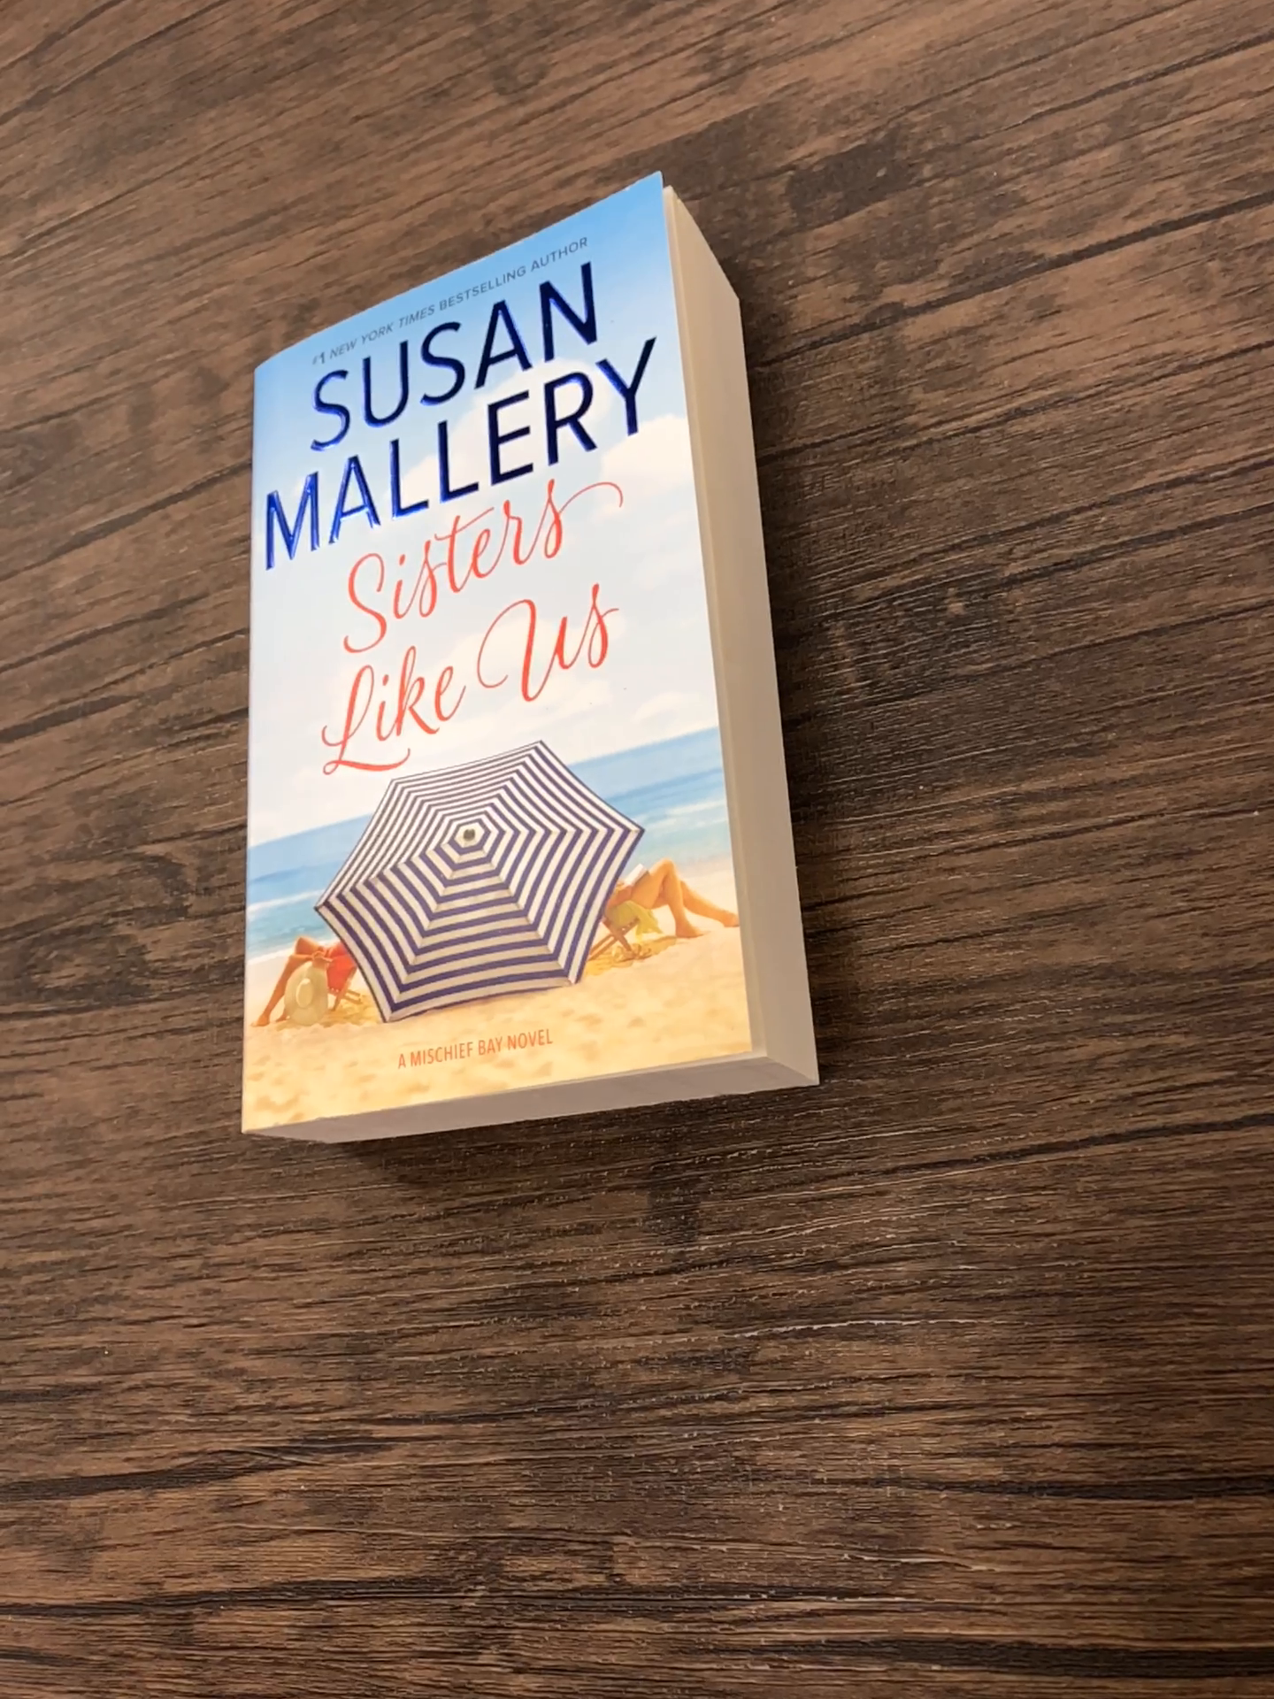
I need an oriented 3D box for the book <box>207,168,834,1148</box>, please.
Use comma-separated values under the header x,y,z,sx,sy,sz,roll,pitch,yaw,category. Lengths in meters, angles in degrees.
x,y,z,sx,sy,sz,roll,pitch,yaw,category
-0.028,-0.030,0.273,0.104,0.043,0.160,-13,72,26,book
